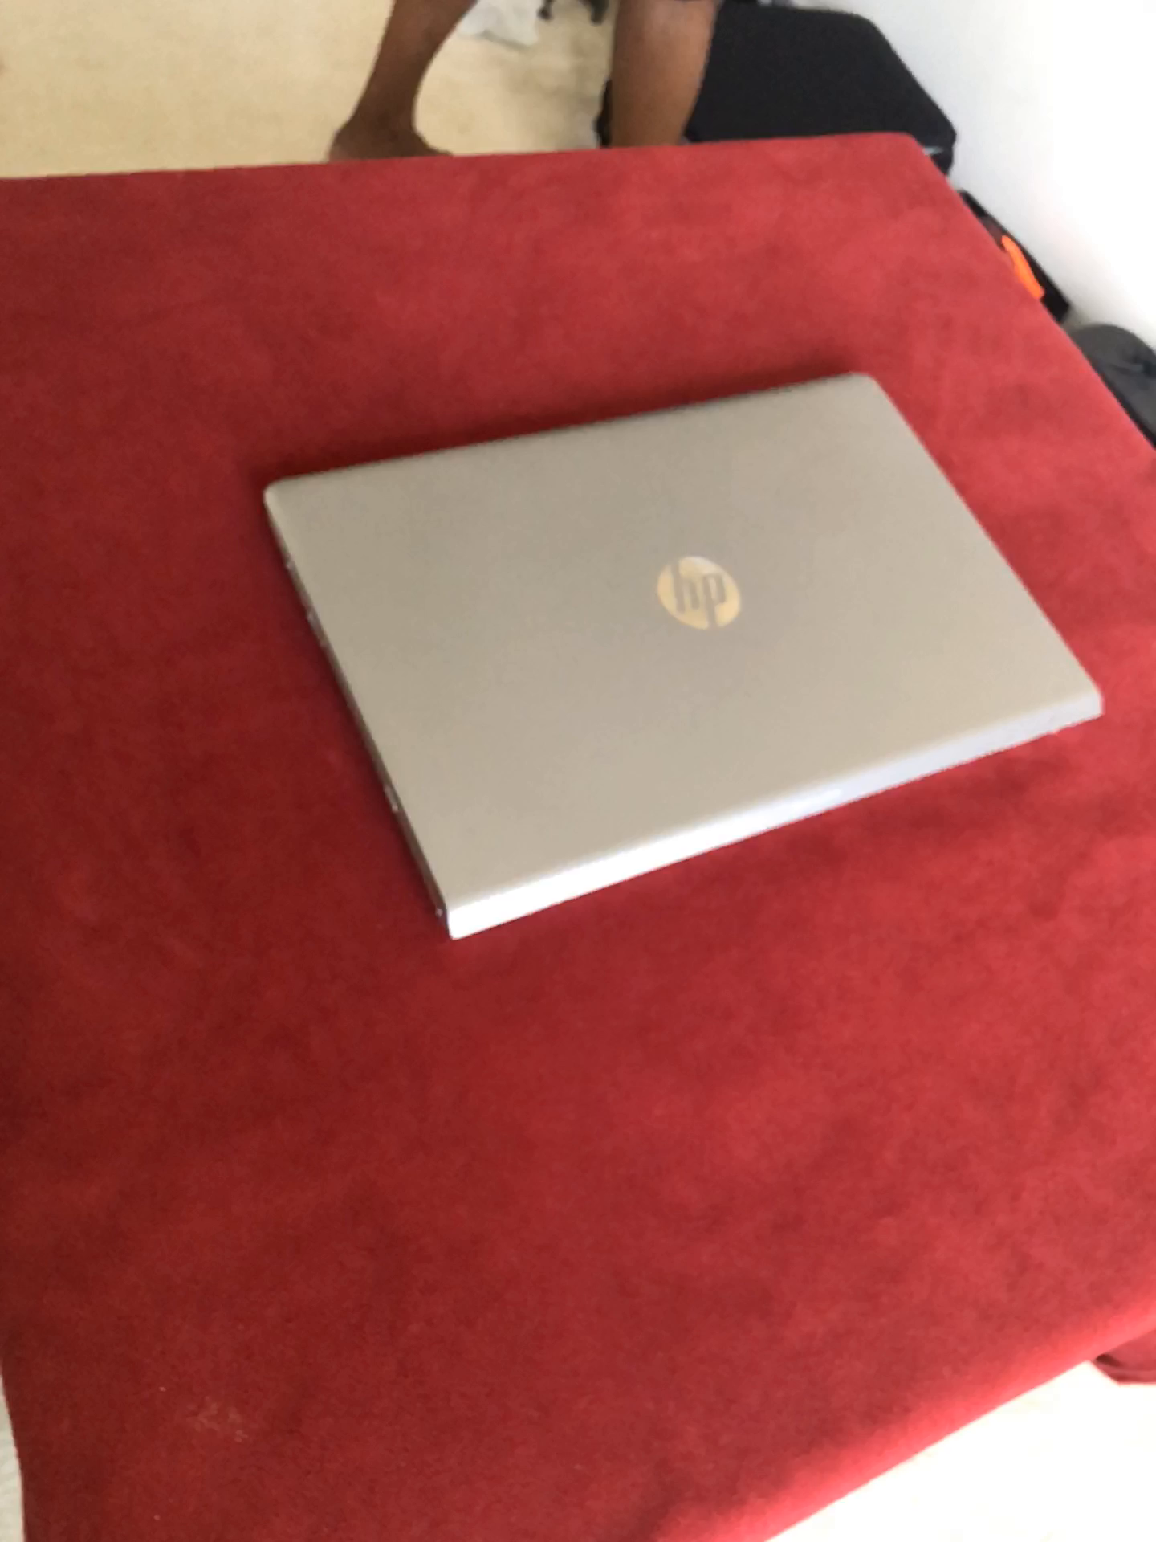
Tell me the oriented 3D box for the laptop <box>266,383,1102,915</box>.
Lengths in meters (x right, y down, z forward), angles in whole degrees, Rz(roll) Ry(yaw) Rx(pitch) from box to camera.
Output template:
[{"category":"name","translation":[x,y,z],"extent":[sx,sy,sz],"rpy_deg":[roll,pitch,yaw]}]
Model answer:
[{"category":"laptop","translation":[0.061,-0.086,0.655],"extent":[0.372,0.006,0.234],"rpy_deg":[-17,63,-23]}]
